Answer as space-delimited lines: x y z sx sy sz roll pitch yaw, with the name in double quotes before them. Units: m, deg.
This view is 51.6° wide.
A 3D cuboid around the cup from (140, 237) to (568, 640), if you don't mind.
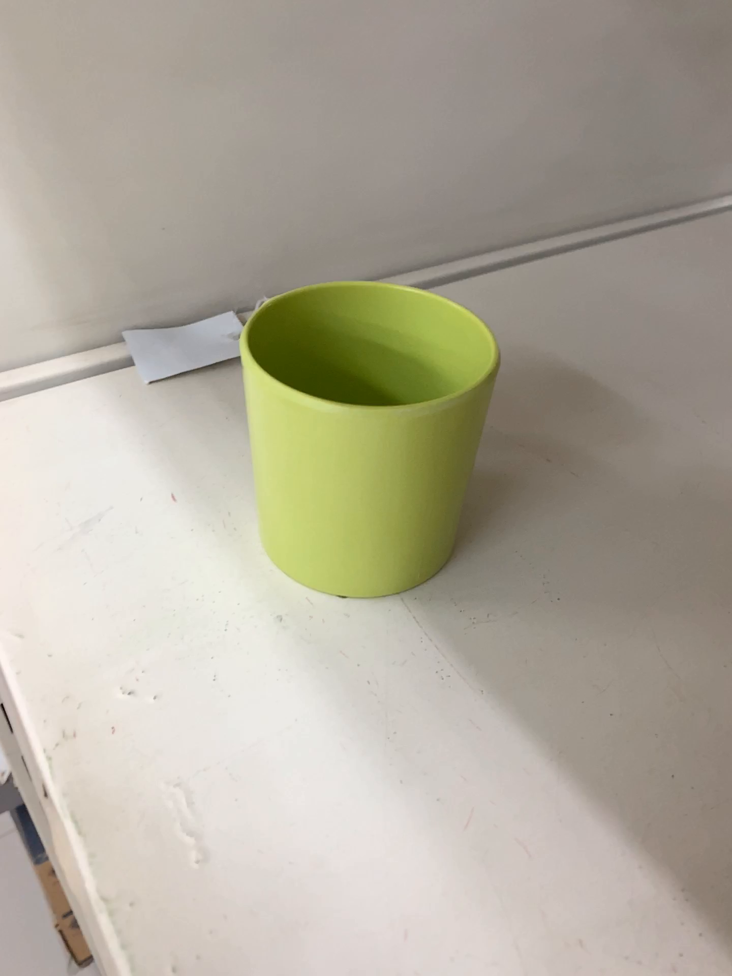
"cup" -0.006 -0.022 0.226 0.077 0.063 0.090 -27 48 -33
